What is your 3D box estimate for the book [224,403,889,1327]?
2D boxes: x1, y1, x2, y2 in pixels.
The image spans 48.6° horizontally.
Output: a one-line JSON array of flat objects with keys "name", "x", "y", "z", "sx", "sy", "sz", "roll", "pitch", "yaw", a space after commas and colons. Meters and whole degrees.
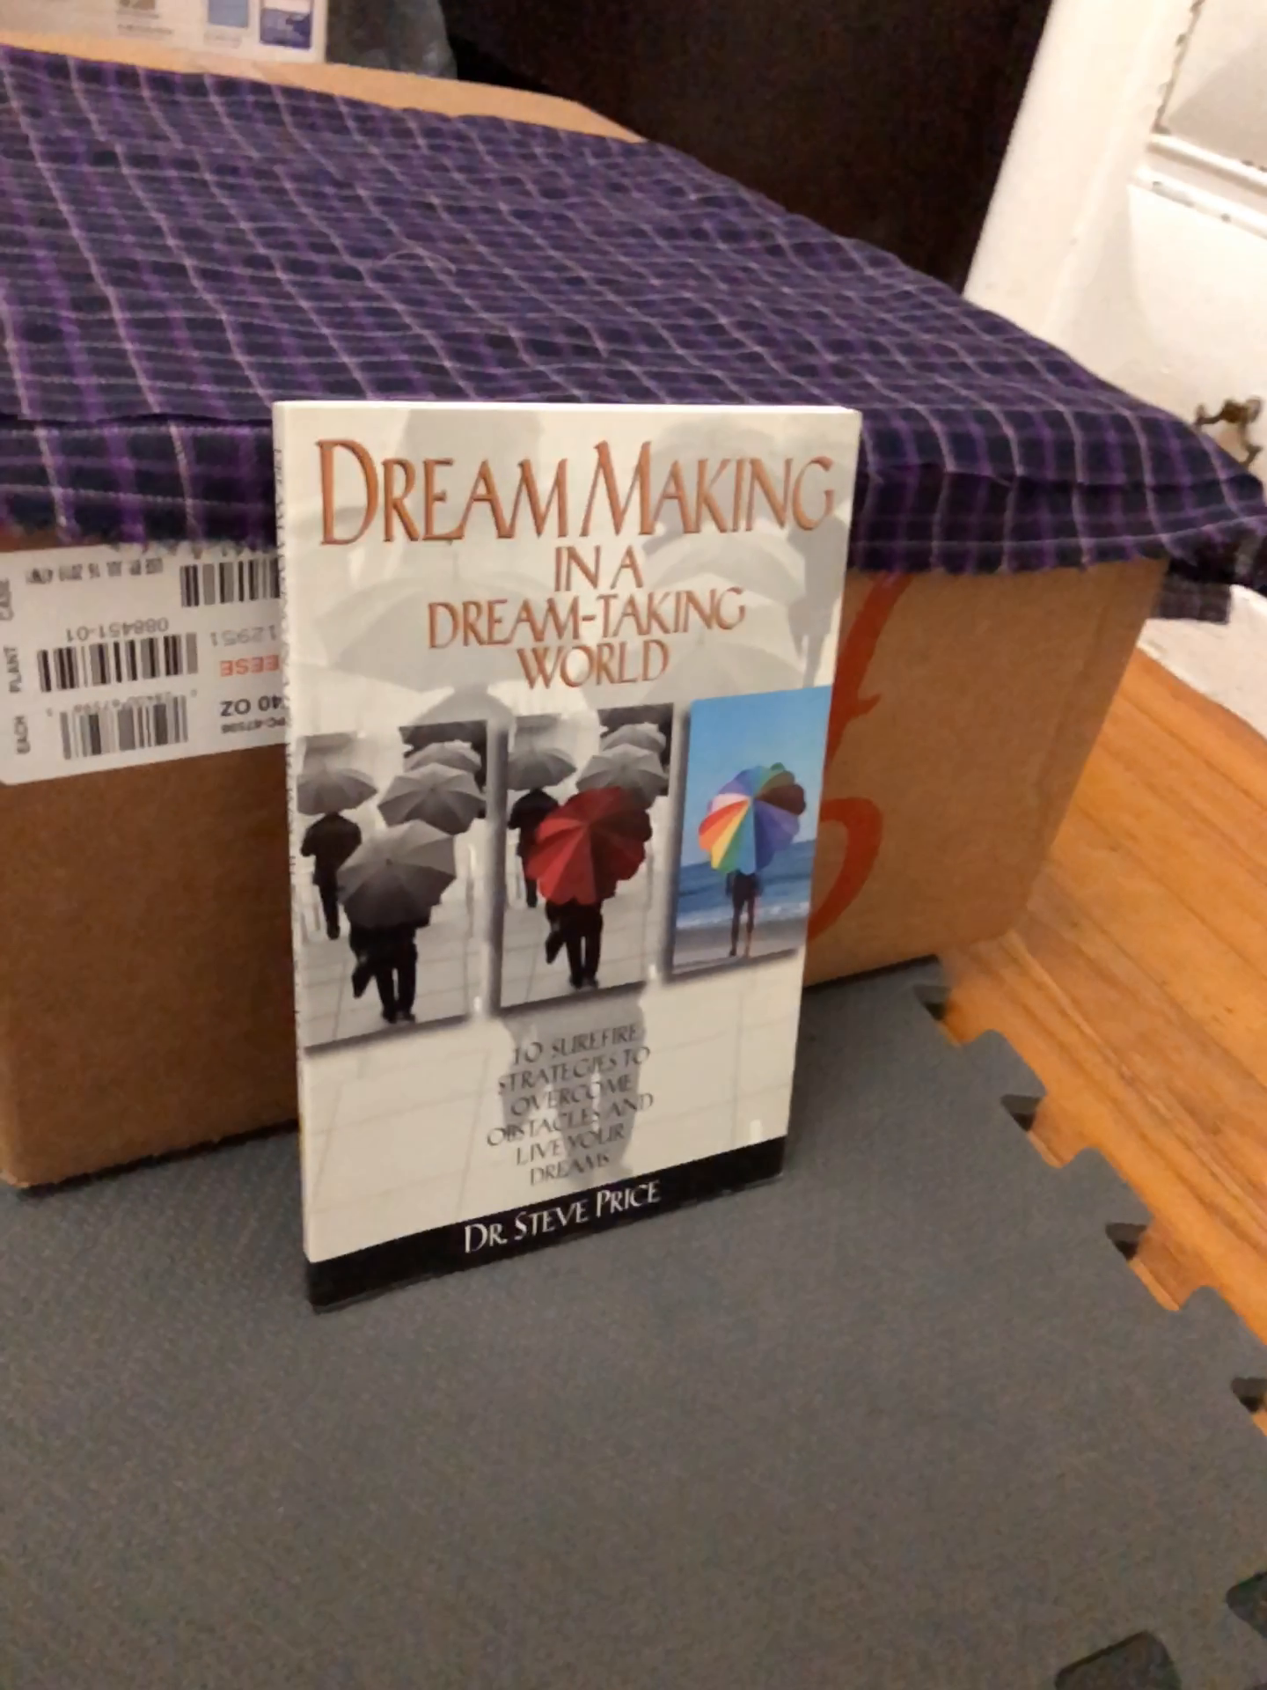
[{"name": "book", "x": -0.016, "y": 0.005, "z": 0.349, "sx": 0.150, "sy": 0.219, "sz": 0.020, "roll": -8, "pitch": 24, "yaw": -25}]
